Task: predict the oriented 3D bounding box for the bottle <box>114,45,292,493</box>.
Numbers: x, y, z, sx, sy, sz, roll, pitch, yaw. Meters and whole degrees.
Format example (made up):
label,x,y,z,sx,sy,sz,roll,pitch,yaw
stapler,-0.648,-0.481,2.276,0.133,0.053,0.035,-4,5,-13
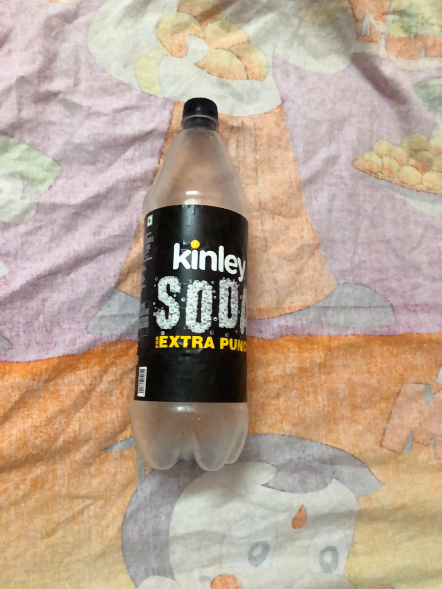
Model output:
label,x,y,z,sx,sy,sz,roll,pitch,yaw
bottle,-0.013,-0.016,0.356,0.090,0.080,0.280,6,83,-25
